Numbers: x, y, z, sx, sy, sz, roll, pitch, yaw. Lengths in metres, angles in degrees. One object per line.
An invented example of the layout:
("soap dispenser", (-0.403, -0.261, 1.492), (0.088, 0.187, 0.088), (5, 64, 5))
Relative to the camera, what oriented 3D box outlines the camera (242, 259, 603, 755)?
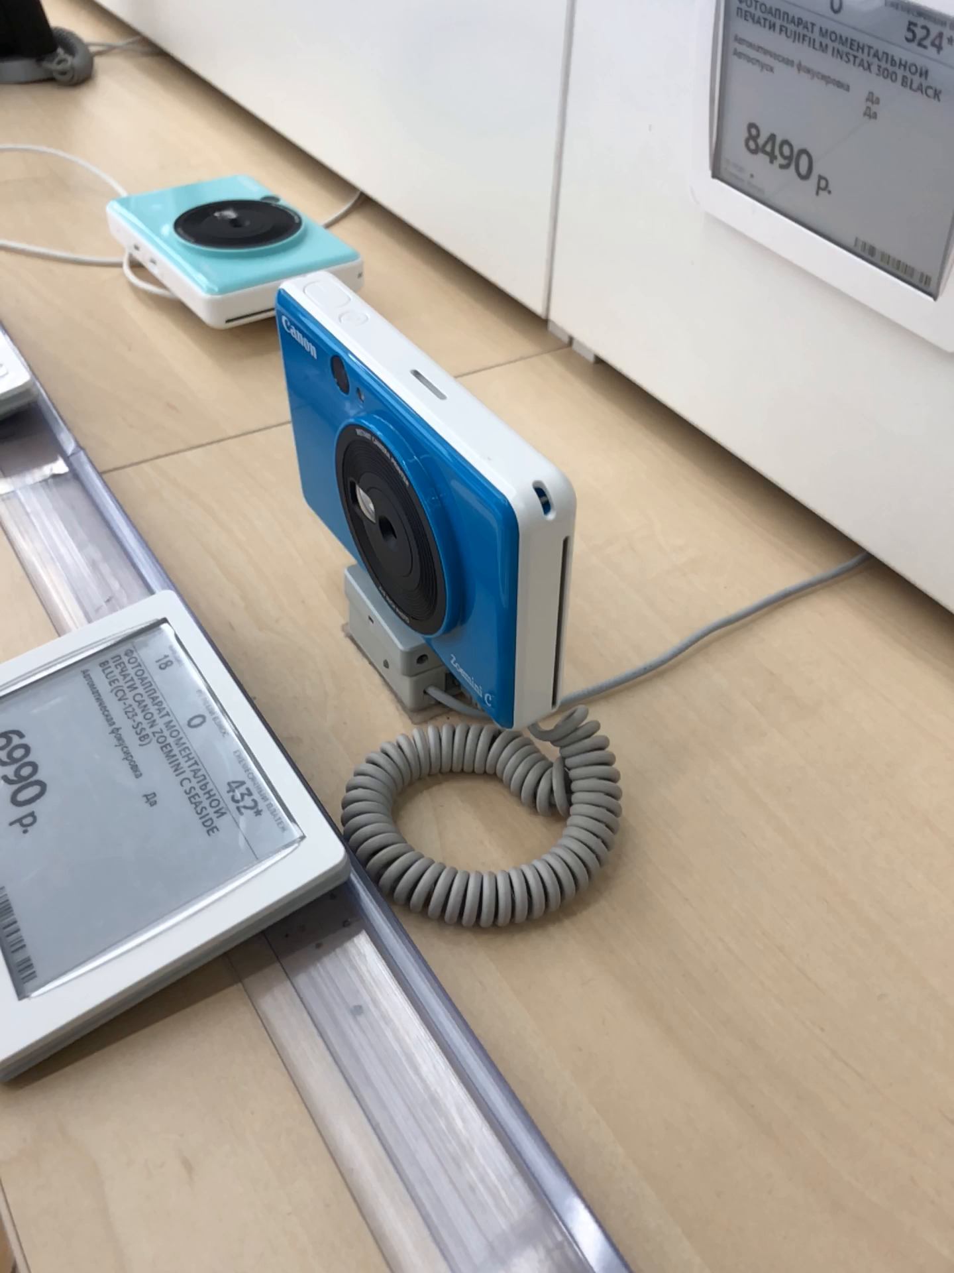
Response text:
("camera", (-0.017, -0.038, 0.273), (0.030, 0.070, 0.121), (-24, 49, -21))
